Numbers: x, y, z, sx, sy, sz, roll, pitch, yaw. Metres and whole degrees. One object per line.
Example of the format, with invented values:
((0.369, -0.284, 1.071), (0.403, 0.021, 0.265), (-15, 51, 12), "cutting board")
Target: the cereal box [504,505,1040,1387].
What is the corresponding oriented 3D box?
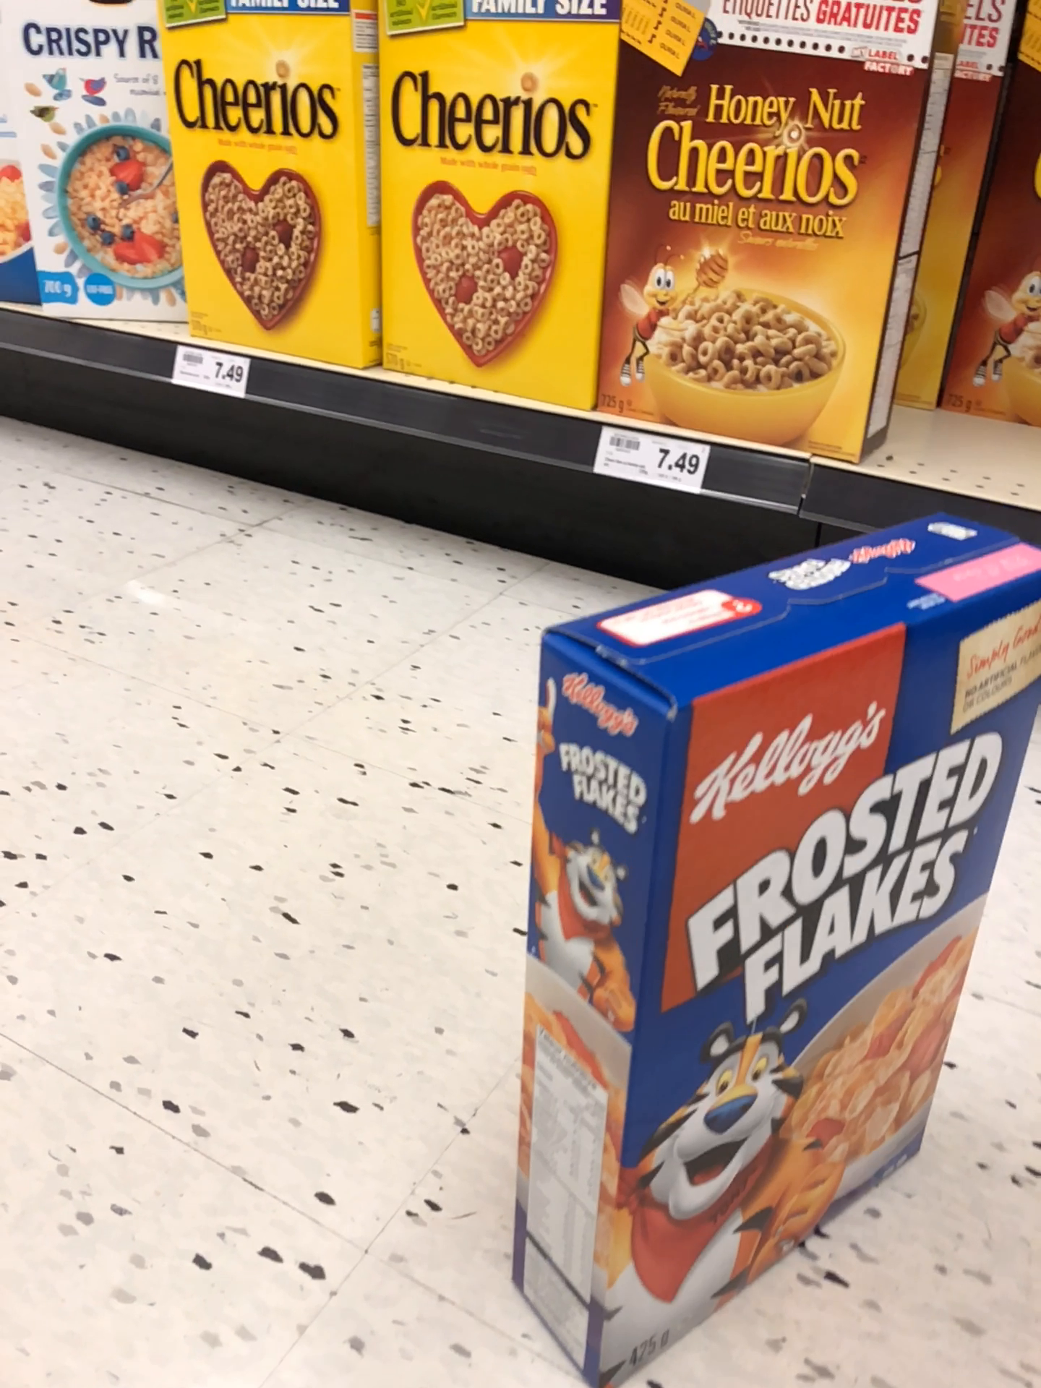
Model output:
((0.100, 0.094, 0.430), (0.201, 0.288, 0.070), (-18, 34, -33), "cereal box")
